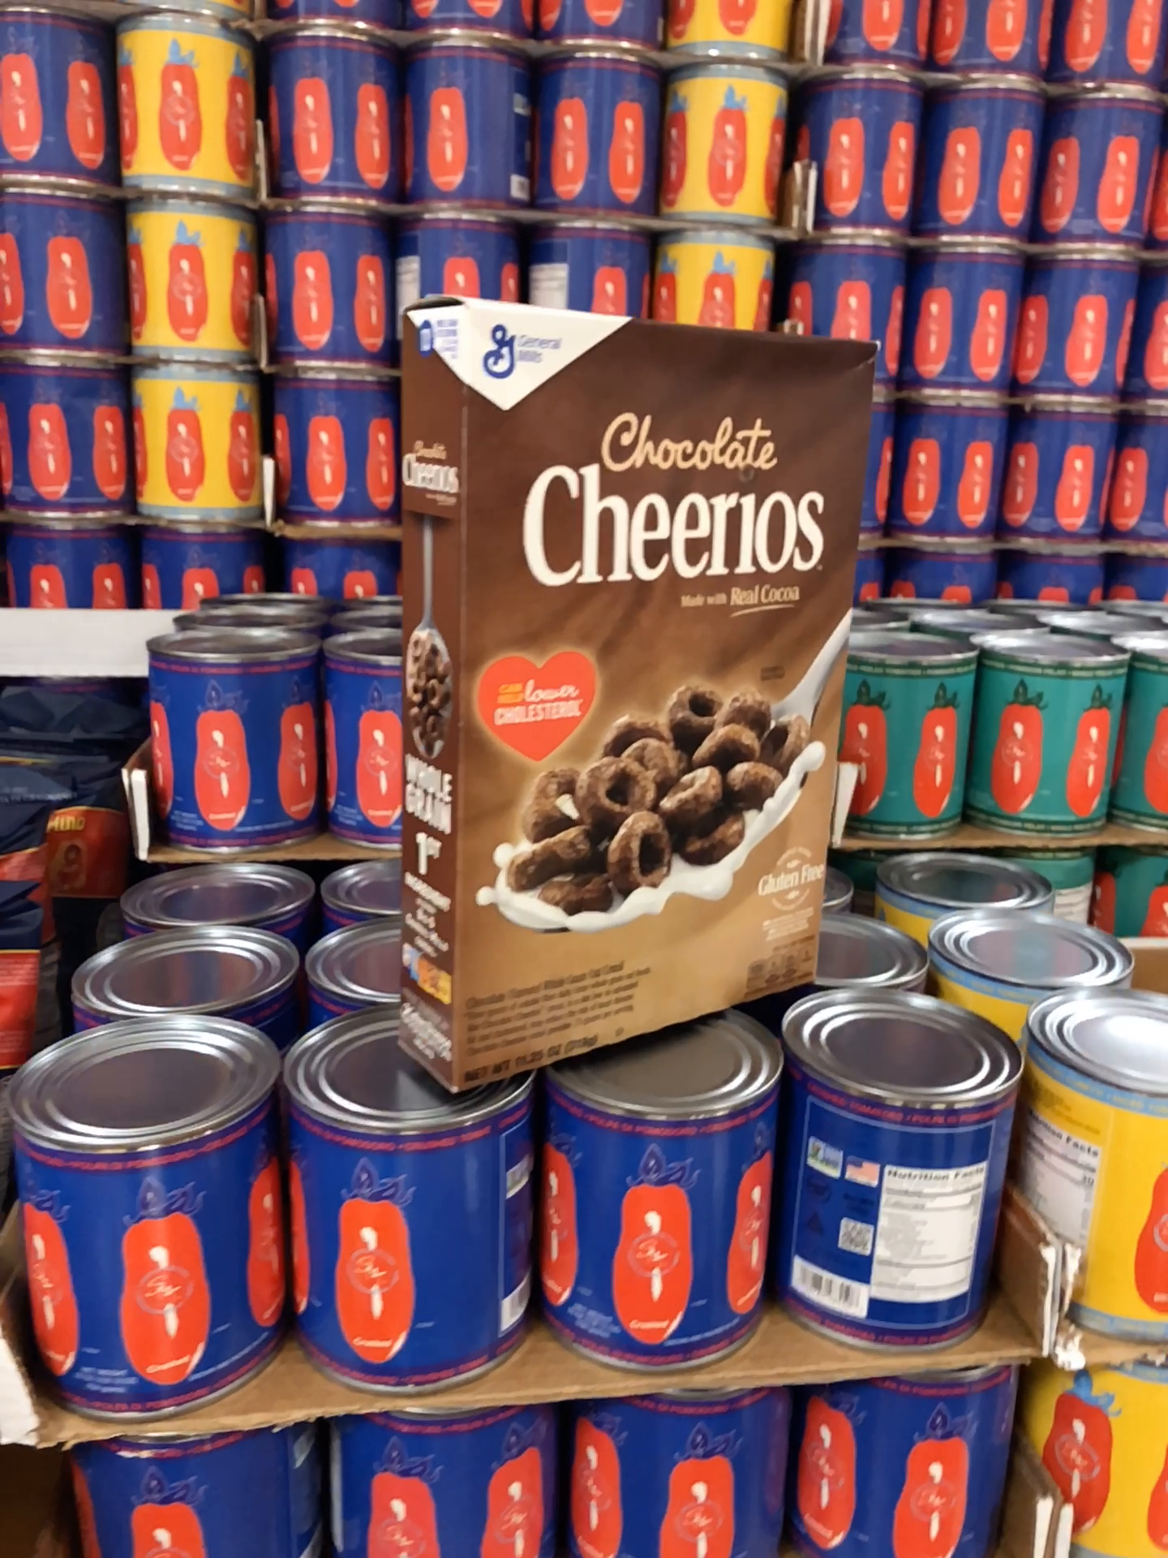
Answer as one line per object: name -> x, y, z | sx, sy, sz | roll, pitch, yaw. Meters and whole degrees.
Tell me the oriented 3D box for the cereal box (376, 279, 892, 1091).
cereal box -> 0.023, -0.041, 0.518 | 0.211, 0.279, 0.050 | -9, 18, -37
